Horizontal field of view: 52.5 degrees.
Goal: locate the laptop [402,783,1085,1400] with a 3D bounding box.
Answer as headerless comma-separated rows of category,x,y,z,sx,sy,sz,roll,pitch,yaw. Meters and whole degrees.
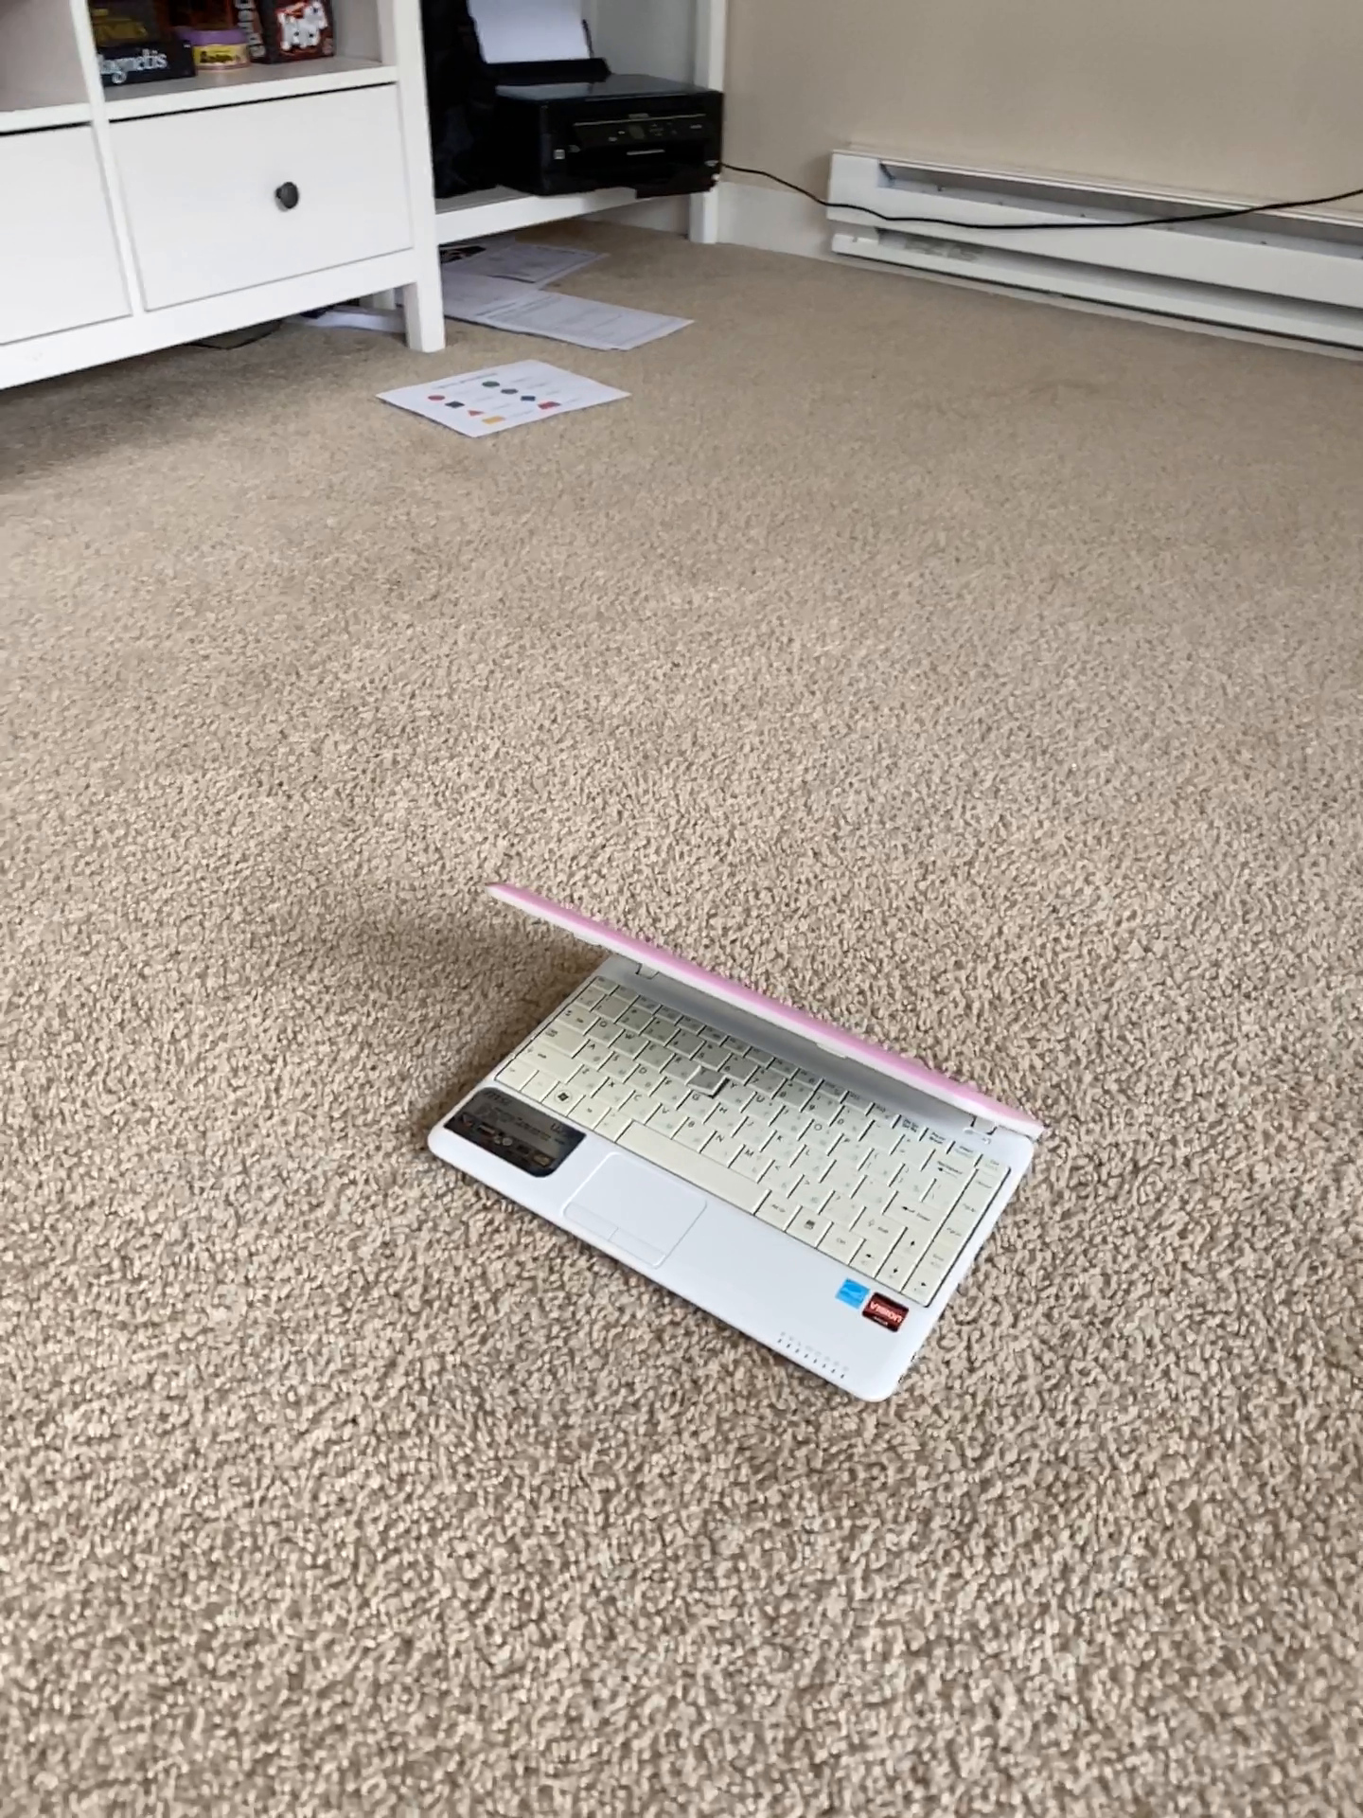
laptop,0.029,0.078,0.741,0.290,0.125,0.194,23,44,26
